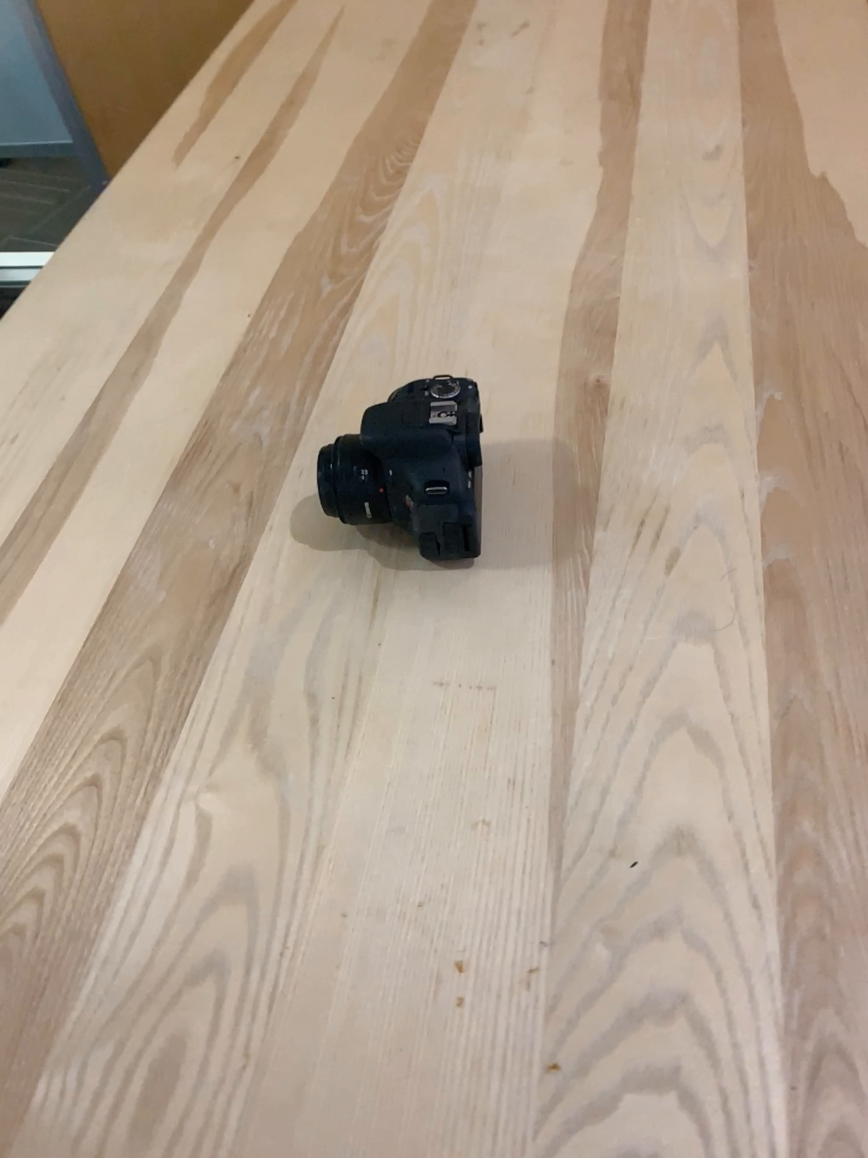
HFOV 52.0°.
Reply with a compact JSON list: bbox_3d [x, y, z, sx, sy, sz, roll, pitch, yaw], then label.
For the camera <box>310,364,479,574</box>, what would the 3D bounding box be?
[{"bbox_3d":[-0.024,-0.083,0.673,0.114,0.101,0.120,1,50,2],"label":"camera"}]
